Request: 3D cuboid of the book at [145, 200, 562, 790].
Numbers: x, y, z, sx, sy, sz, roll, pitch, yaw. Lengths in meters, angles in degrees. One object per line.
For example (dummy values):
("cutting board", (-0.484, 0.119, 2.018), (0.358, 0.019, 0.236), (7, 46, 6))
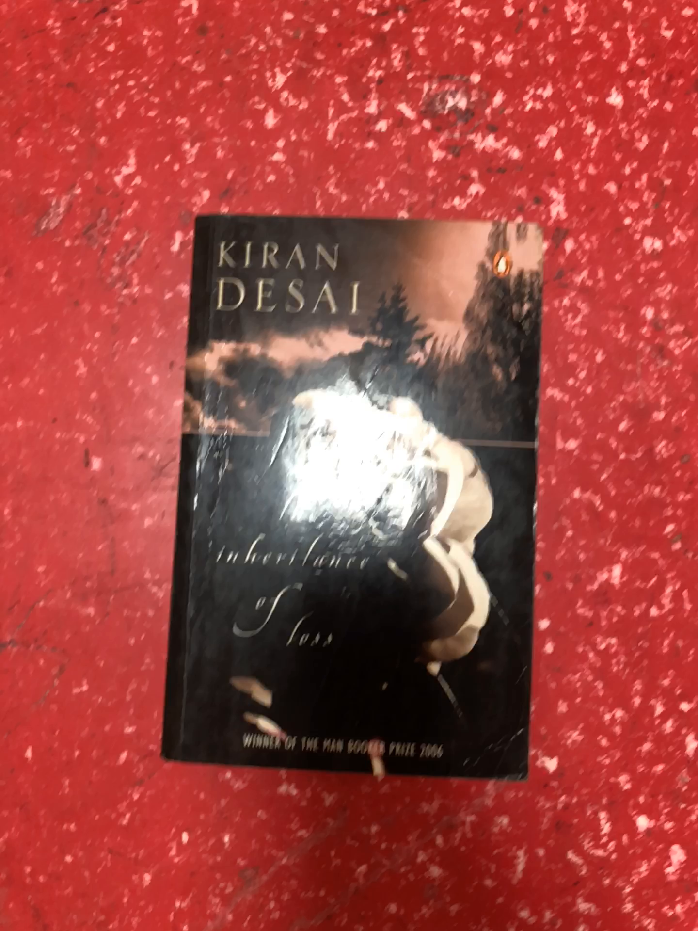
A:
("book", (0.004, 0.008, 0.290), (0.130, 0.060, 0.190), (2, 85, 3))
